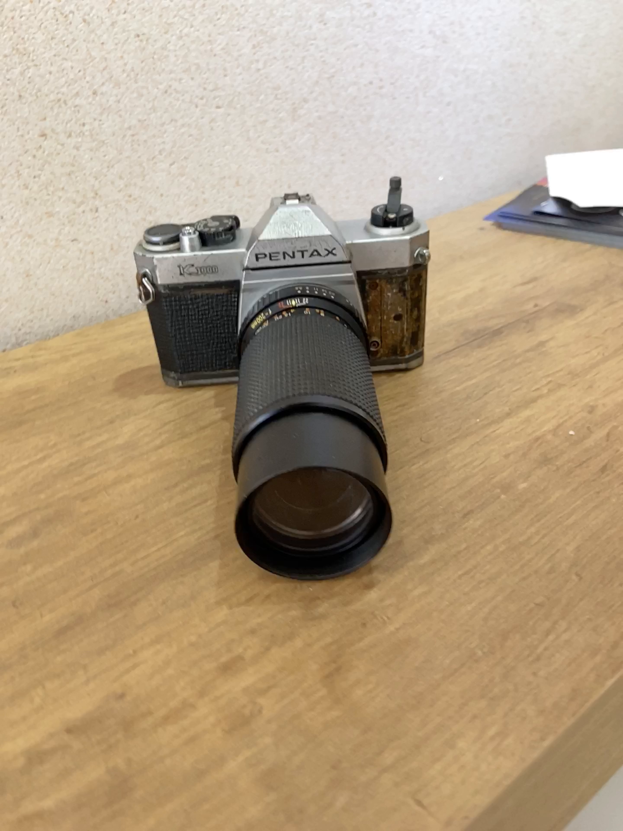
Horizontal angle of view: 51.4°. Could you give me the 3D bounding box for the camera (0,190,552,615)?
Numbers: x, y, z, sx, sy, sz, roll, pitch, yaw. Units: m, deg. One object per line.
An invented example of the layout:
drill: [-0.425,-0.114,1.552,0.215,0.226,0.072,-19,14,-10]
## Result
camera: [-0.012,-0.024,0.271,0.150,0.079,0.181,-6,32,-1]
